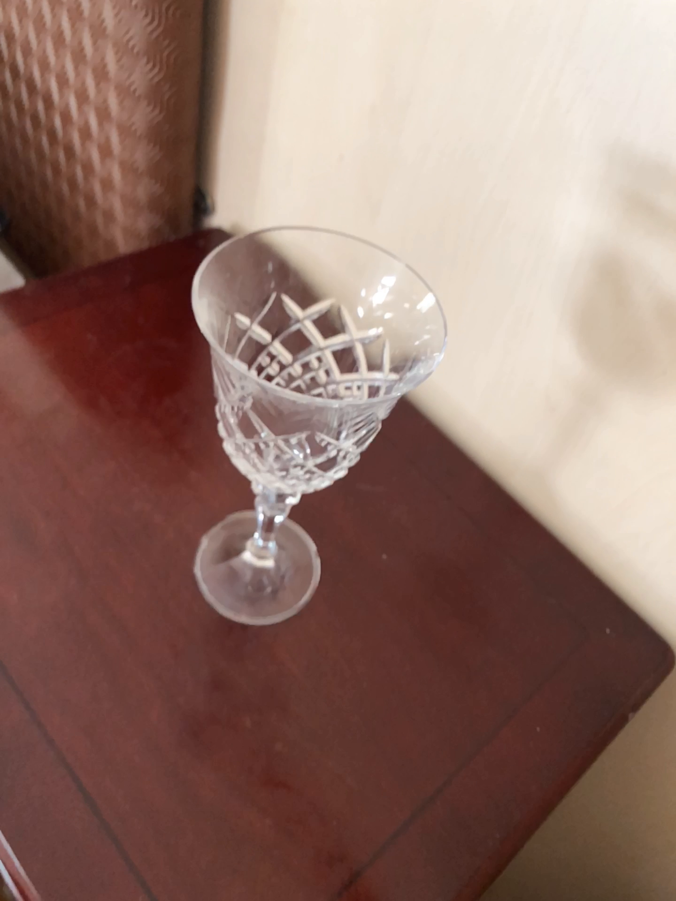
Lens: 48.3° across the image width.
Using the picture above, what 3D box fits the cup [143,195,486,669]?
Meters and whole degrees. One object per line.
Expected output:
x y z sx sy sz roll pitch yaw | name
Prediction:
-0.019 0.001 0.329 0.091 0.170 0.092 8 50 -9 | cup
